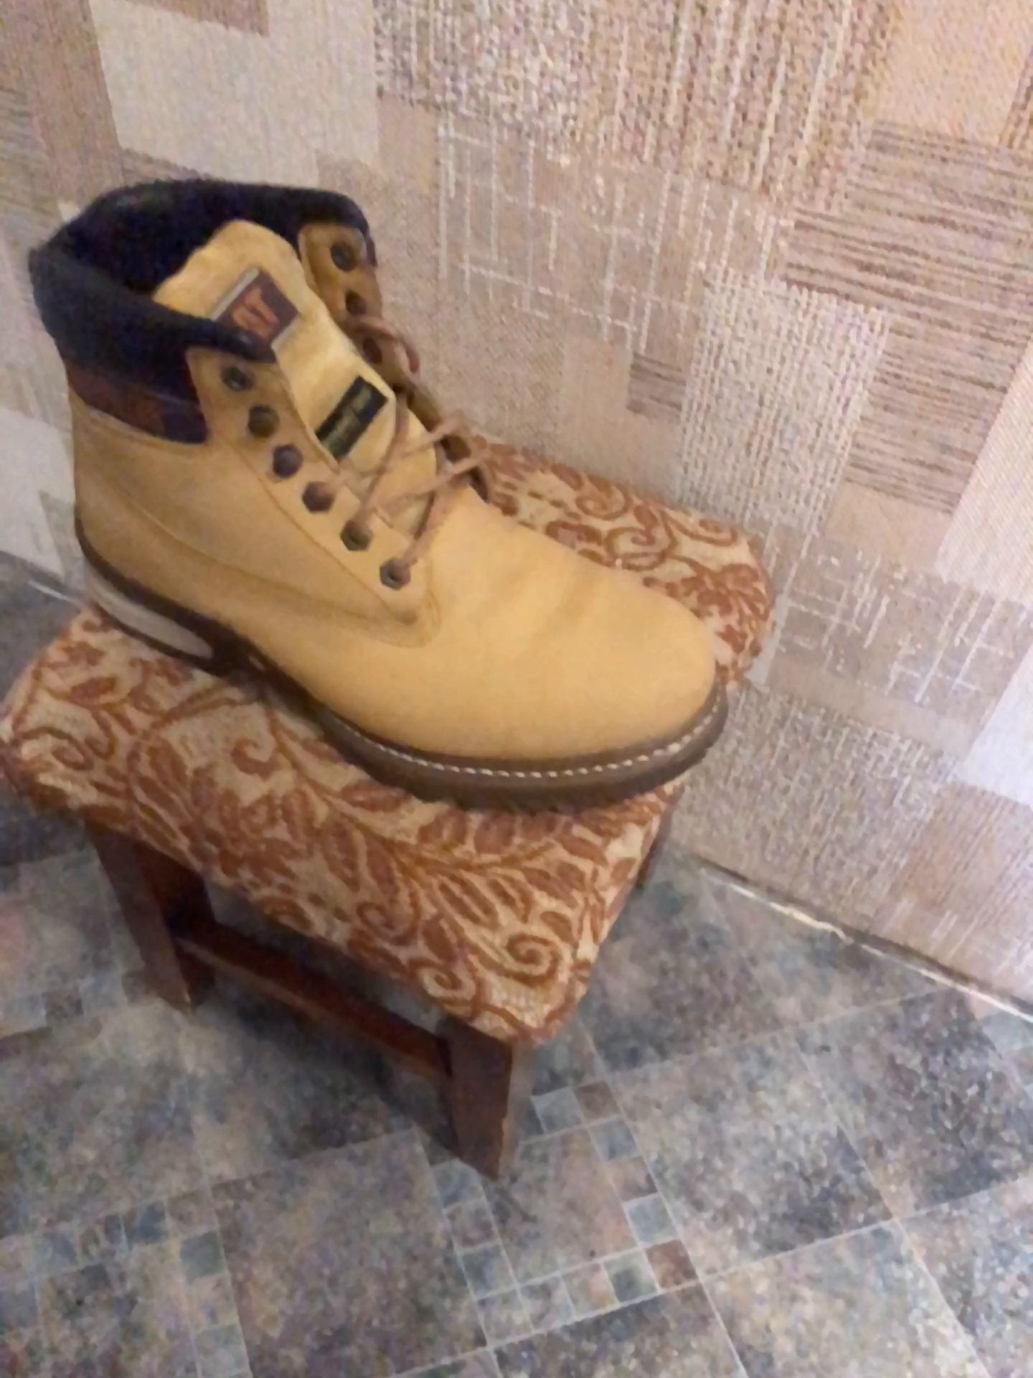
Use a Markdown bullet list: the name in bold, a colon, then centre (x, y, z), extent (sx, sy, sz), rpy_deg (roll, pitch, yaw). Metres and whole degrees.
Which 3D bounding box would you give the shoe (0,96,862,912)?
- **shoe**: centre (-0.051, -0.072, 0.444), extent (0.290, 0.189, 0.130), rpy_deg (23, 52, 14)
